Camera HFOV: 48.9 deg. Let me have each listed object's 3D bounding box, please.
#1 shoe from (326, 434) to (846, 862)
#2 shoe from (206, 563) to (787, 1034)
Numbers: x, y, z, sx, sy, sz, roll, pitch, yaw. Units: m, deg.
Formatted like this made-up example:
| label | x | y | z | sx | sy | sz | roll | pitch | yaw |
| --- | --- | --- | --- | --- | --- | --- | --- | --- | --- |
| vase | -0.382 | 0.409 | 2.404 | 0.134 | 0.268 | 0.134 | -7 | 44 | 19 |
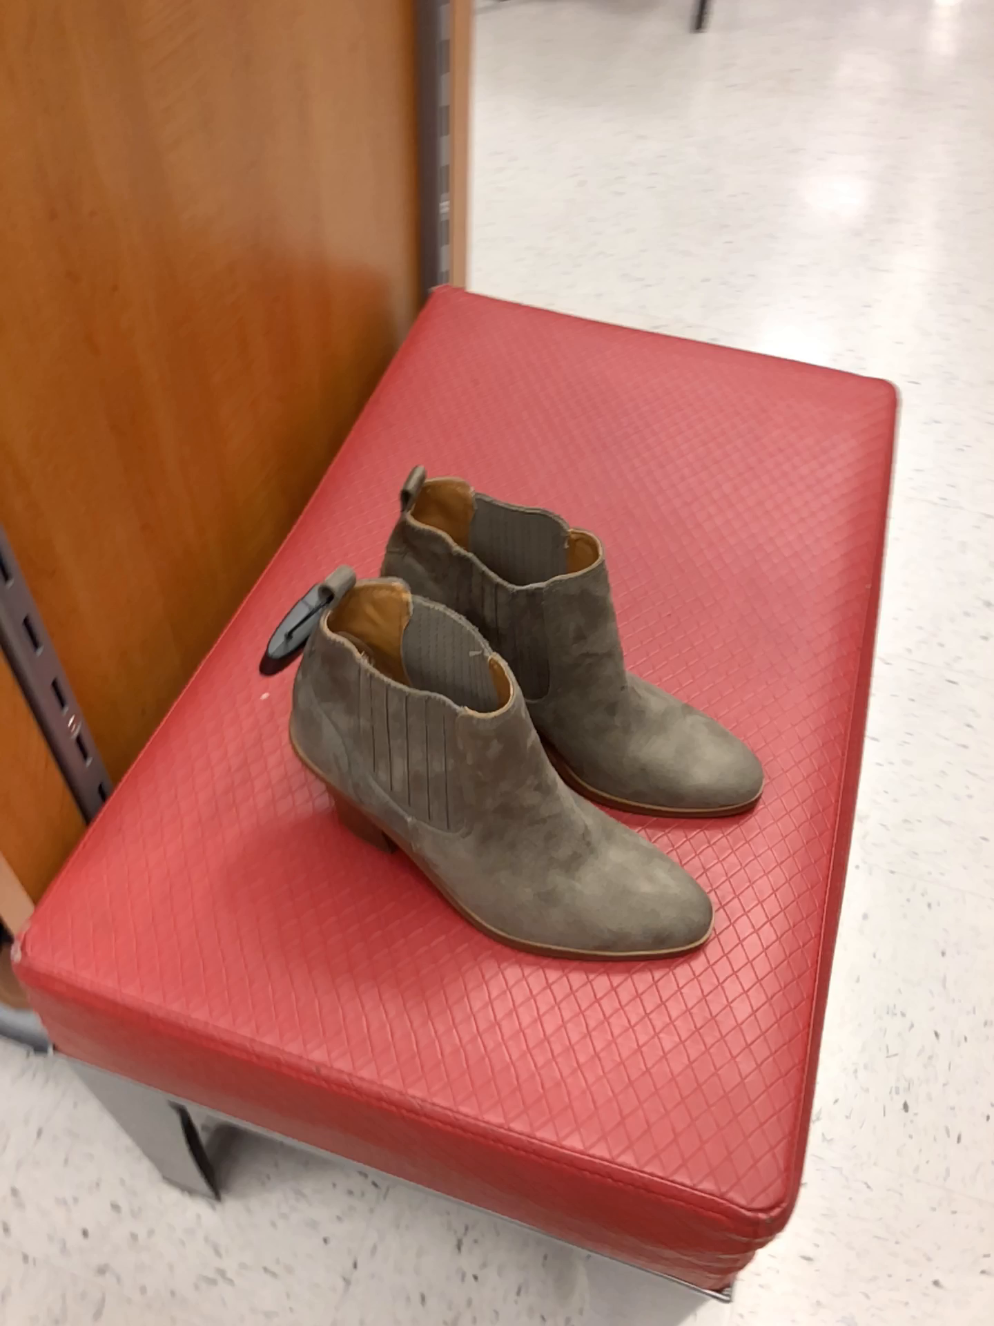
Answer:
| label | x | y | z | sx | sy | sz | roll | pitch | yaw |
| --- | --- | --- | --- | --- | --- | --- | --- | --- | --- |
| shoe | 0.046 | -0.009 | 0.627 | 0.251 | 0.150 | 0.107 | 17 | 52 | 12 |
| shoe | -0.002 | 0.071 | 0.566 | 0.251 | 0.160 | 0.097 | 17 | 52 | 12 |
